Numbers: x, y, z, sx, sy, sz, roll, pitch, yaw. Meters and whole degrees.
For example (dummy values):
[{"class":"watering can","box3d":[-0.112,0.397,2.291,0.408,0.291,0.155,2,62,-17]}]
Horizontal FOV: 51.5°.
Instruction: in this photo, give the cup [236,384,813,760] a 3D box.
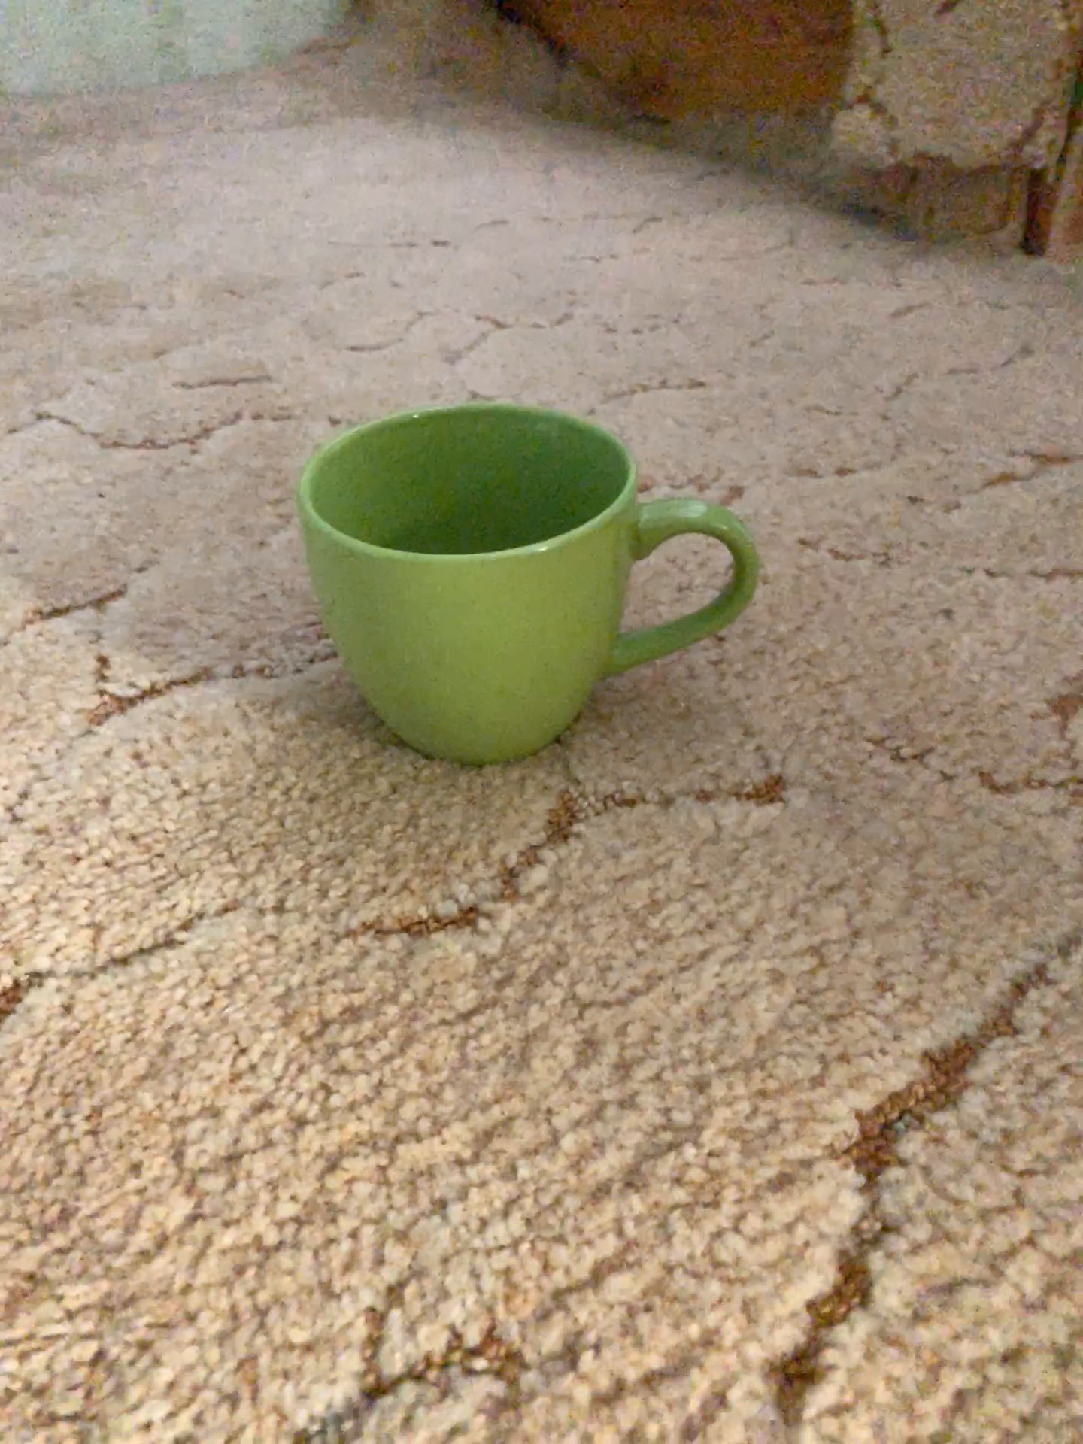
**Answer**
[{"class":"cup","box3d":[-0.002,-0.042,0.287,0.120,0.059,0.091,0,34,3]}]
